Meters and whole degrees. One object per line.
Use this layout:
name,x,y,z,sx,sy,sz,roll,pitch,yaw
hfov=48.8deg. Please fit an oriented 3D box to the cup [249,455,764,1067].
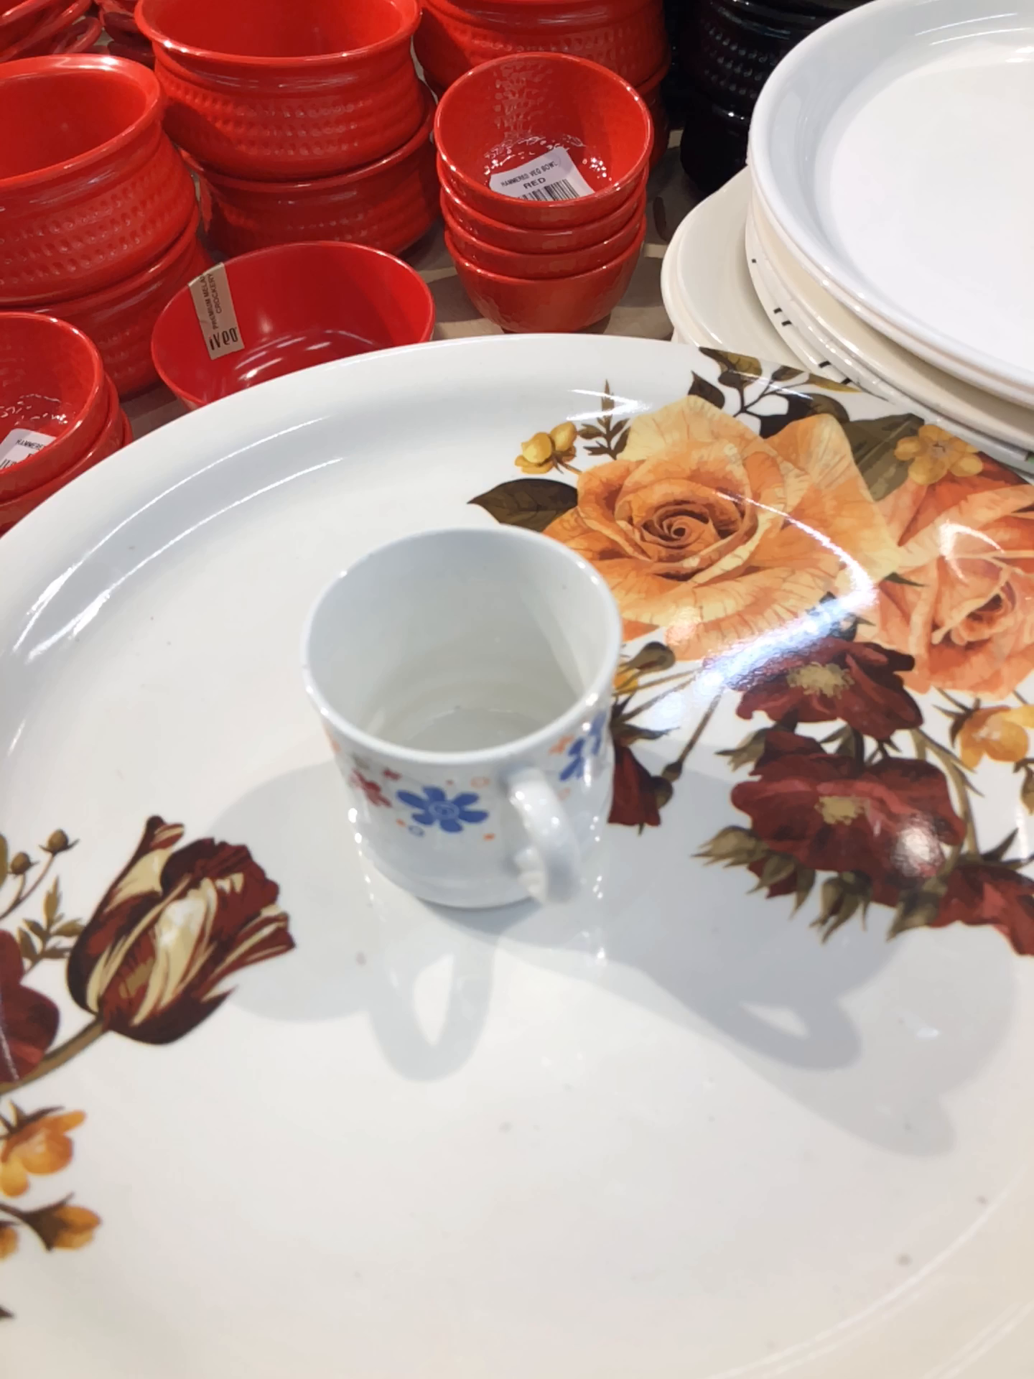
cup,-0.004,0.014,0.245,0.070,0.070,0.090,-20,54,-11
